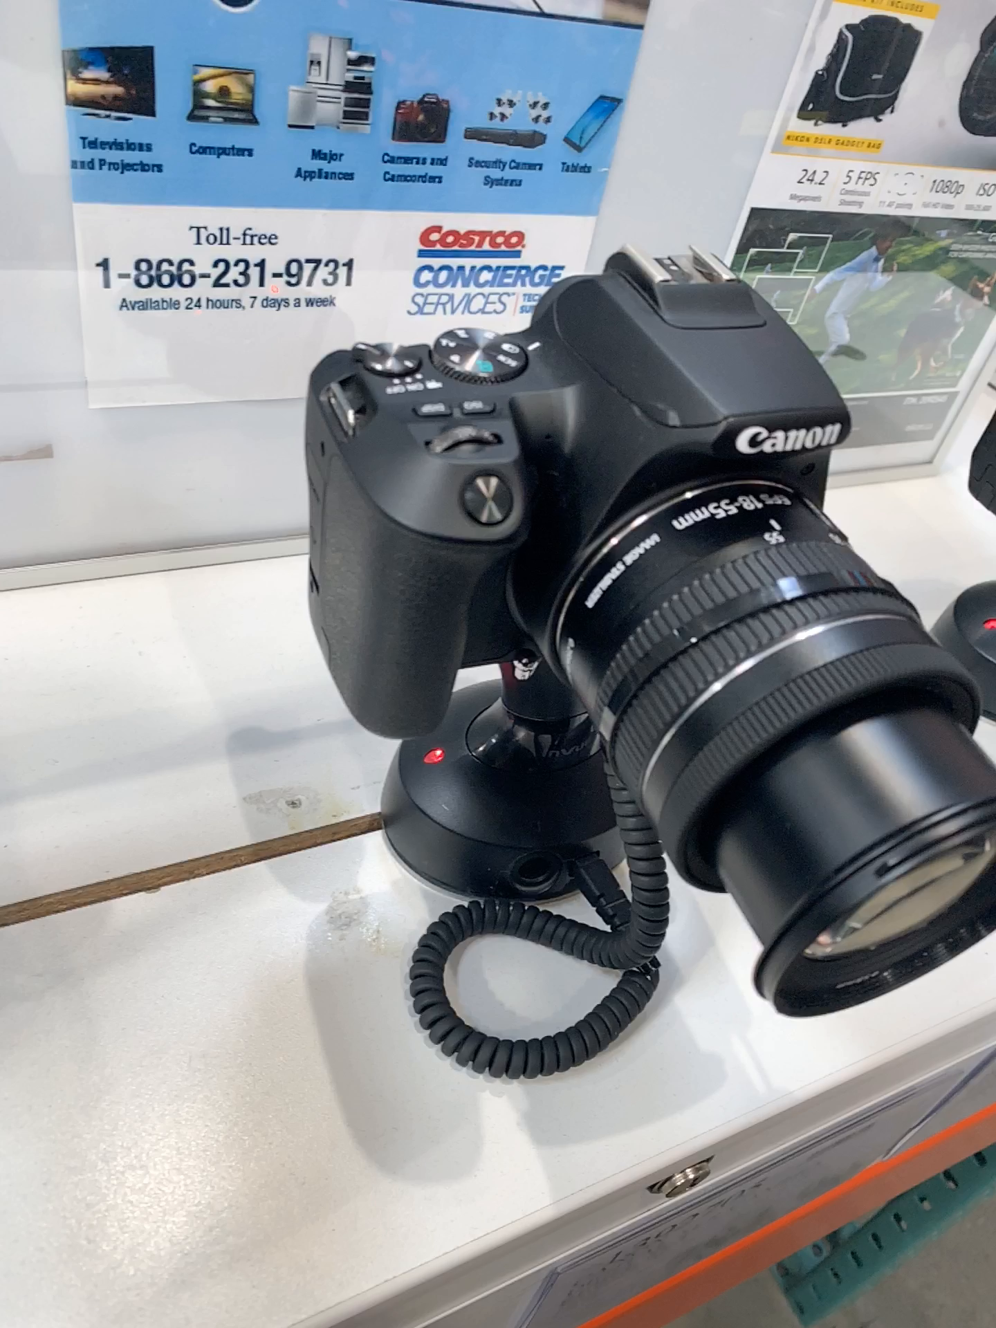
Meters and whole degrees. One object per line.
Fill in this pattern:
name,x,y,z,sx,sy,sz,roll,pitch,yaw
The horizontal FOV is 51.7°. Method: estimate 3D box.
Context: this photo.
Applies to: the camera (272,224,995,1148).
camera,0.039,-0.015,0.196,0.119,0.079,0.141,-12,47,-27
